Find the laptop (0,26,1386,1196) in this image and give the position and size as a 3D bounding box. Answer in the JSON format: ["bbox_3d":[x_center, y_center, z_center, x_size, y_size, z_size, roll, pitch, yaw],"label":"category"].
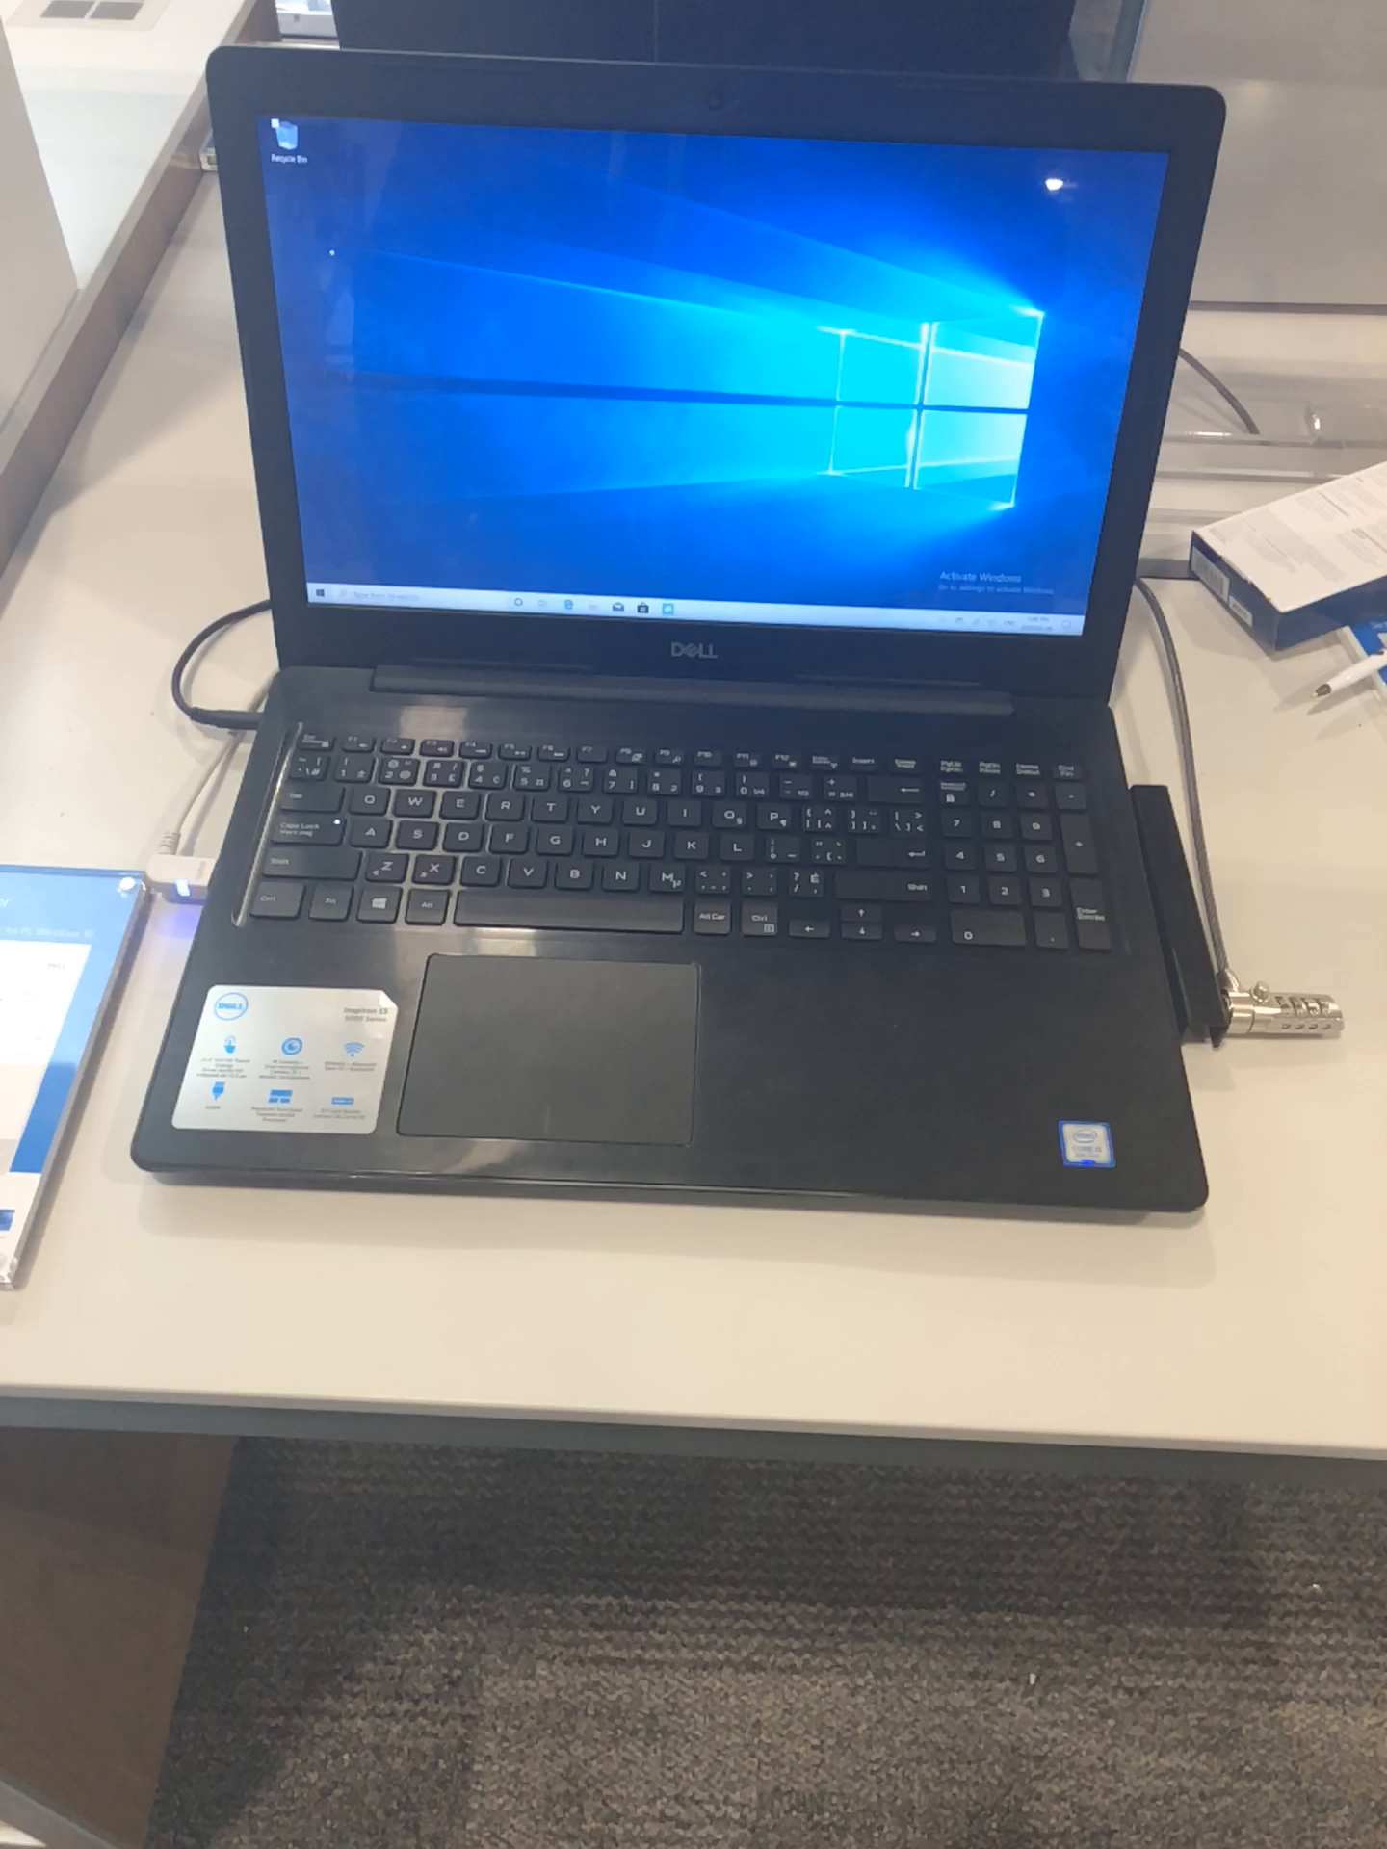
[{"bbox_3d":[-0.001,-0.118,0.546,0.363,0.224,0.337,2,53,1],"label":"laptop"}]
